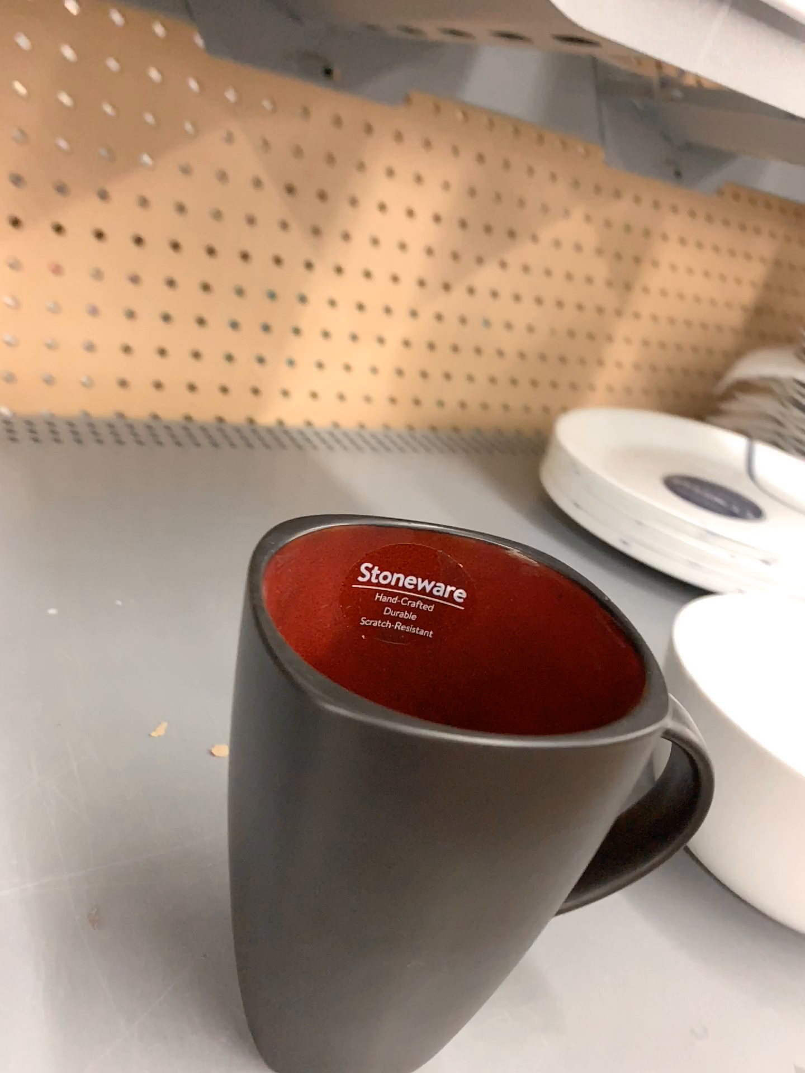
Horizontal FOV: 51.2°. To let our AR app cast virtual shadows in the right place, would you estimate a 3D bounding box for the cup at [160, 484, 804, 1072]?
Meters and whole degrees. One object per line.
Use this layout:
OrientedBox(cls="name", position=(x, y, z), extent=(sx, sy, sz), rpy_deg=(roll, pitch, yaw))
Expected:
OrientedBox(cls="cup", position=(0.015, 0.070, 0.215), extent=(0.130, 0.129, 0.090), rpy_deg=(4, 27, -22))
